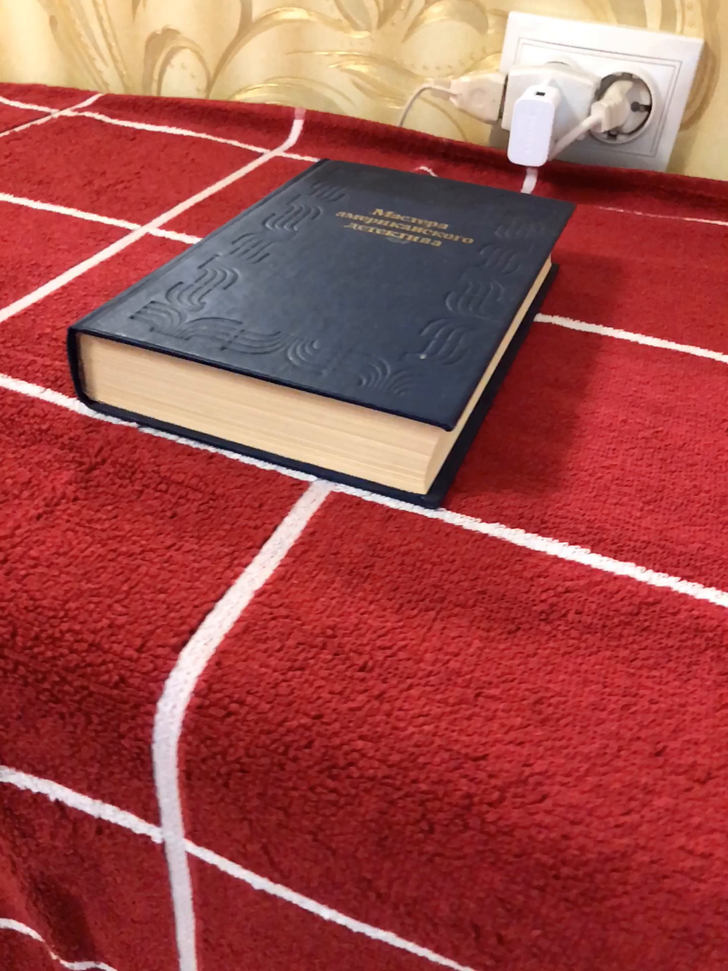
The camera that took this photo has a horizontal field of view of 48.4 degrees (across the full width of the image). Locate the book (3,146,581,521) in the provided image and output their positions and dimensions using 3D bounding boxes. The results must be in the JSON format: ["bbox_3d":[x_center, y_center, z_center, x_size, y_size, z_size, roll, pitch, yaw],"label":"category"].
[{"bbox_3d":[-0.008,-0.076,0.306,0.143,0.030,0.194,16,40,14],"label":"book"}]
